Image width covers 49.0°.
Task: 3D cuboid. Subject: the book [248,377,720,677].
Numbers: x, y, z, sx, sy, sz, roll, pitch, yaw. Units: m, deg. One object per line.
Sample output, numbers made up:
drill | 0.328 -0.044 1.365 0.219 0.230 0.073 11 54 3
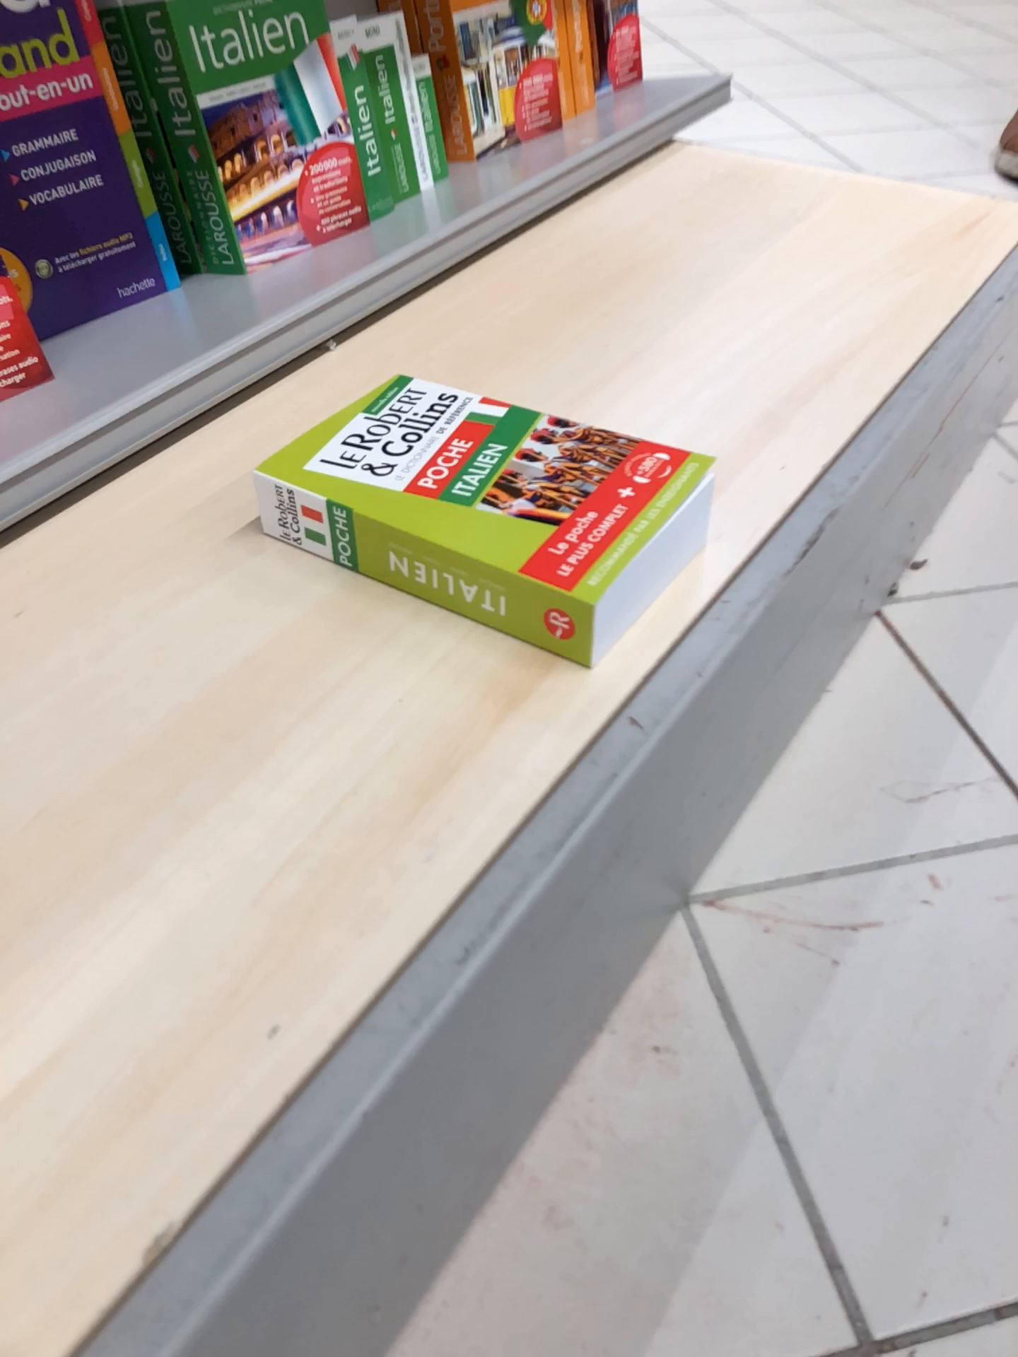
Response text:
book | -0.010 -0.076 0.502 0.175 0.040 0.111 22 45 24
